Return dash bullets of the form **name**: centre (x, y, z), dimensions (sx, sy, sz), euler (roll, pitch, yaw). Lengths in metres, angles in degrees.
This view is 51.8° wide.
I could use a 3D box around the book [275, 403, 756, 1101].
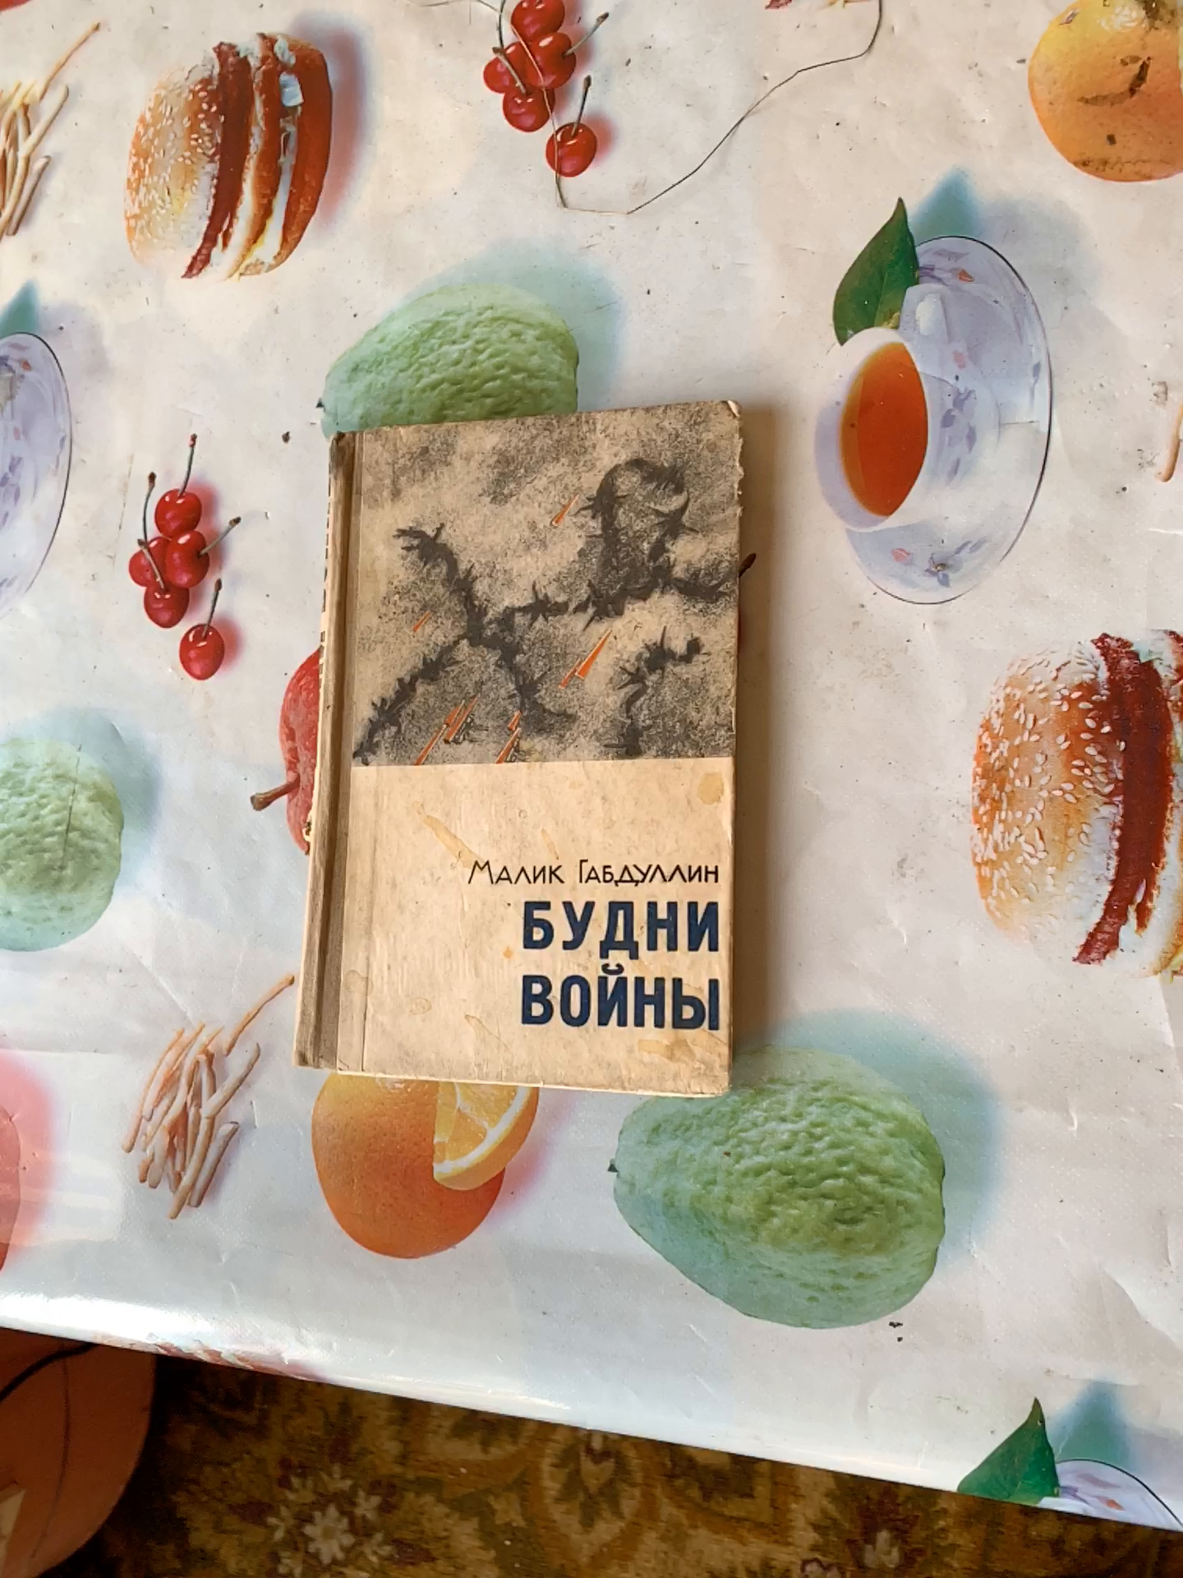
- **book**: centre (-0.022, -0.013, 0.363), dimensions (0.136, 0.019, 0.196), euler (0, 82, 14)
